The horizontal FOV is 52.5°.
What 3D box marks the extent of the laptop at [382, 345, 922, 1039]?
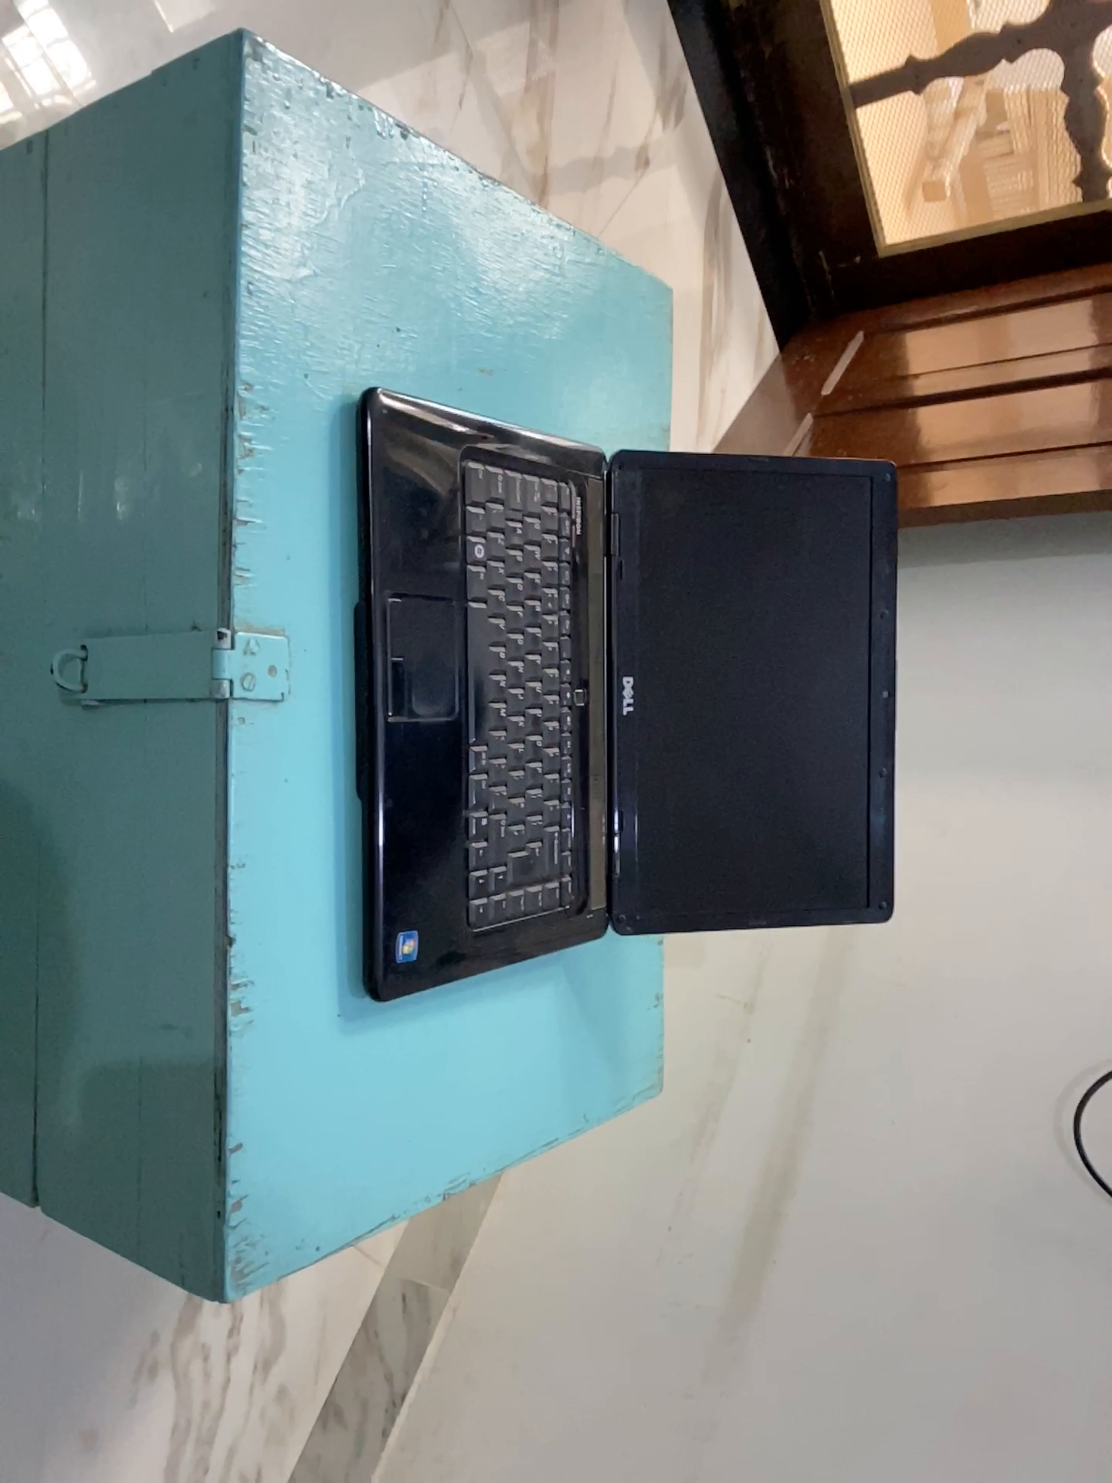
[{"bbox_3d":[0.095,-0.034,0.796,0.415,0.162,0.363,-4,95,-52],"label":"laptop"}]
